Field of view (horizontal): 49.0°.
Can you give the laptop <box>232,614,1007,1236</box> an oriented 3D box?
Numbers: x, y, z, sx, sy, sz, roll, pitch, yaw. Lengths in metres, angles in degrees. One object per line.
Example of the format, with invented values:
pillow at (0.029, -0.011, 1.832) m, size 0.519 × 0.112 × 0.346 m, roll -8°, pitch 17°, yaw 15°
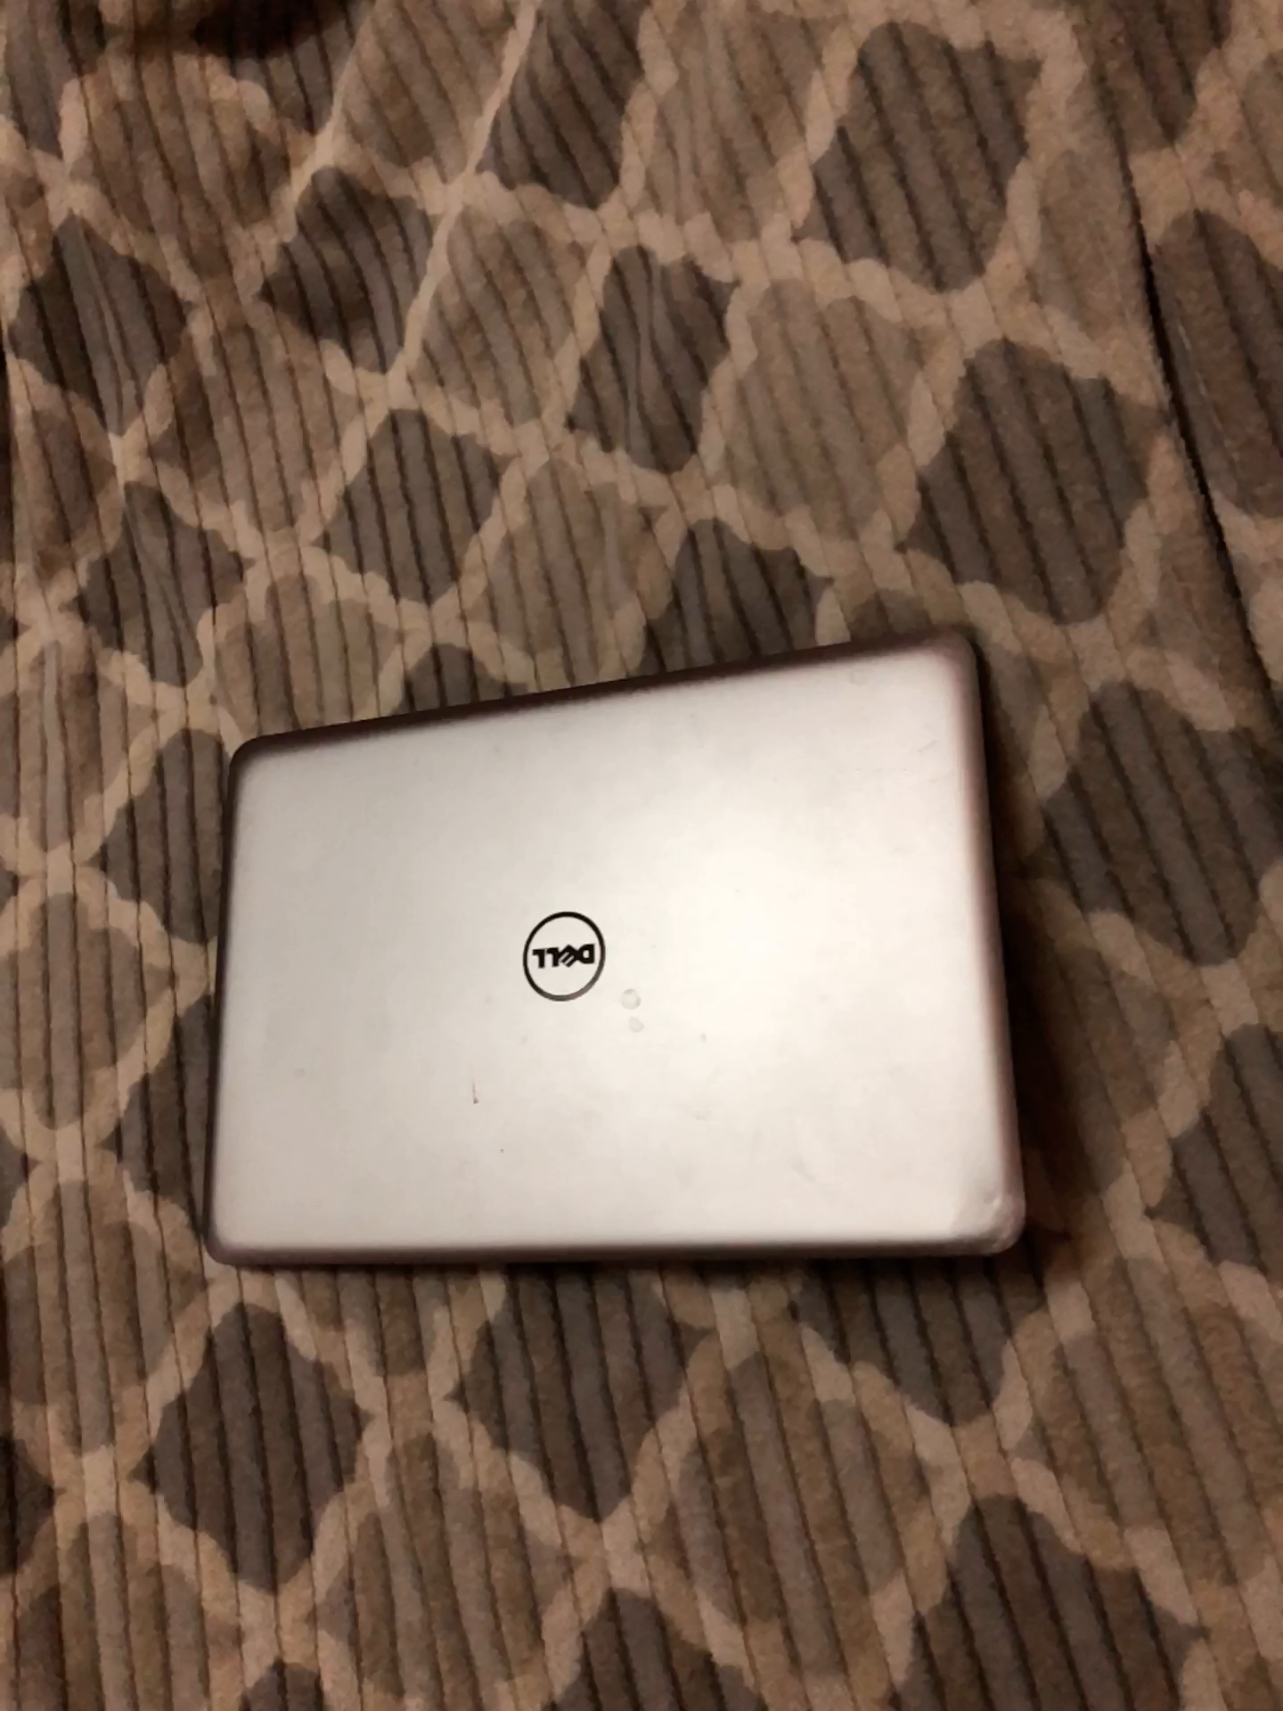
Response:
laptop at (-0.029, 0.039, 0.640) m, size 0.359 × 0.007 × 0.251 m, roll -7°, pitch 75°, yaw 20°
